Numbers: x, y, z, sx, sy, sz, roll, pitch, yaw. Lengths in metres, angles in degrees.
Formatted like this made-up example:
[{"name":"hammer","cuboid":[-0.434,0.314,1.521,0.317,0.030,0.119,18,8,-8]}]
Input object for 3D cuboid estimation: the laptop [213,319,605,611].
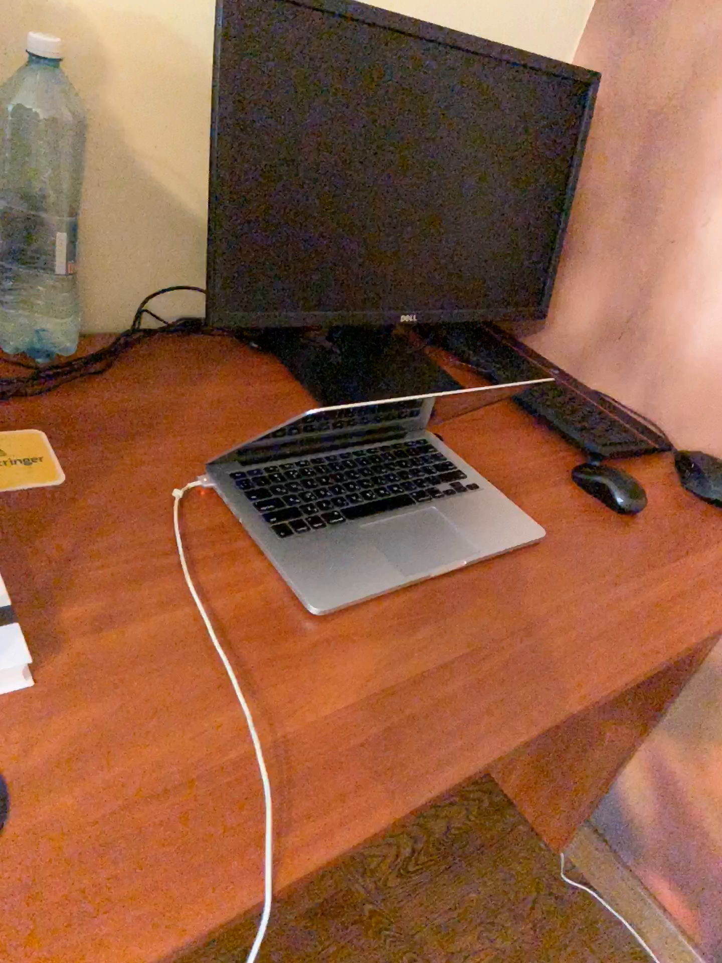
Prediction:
[{"name":"laptop","cuboid":[0.046,-0.040,0.720,0.304,0.150,0.207,-12,43,-38]}]
